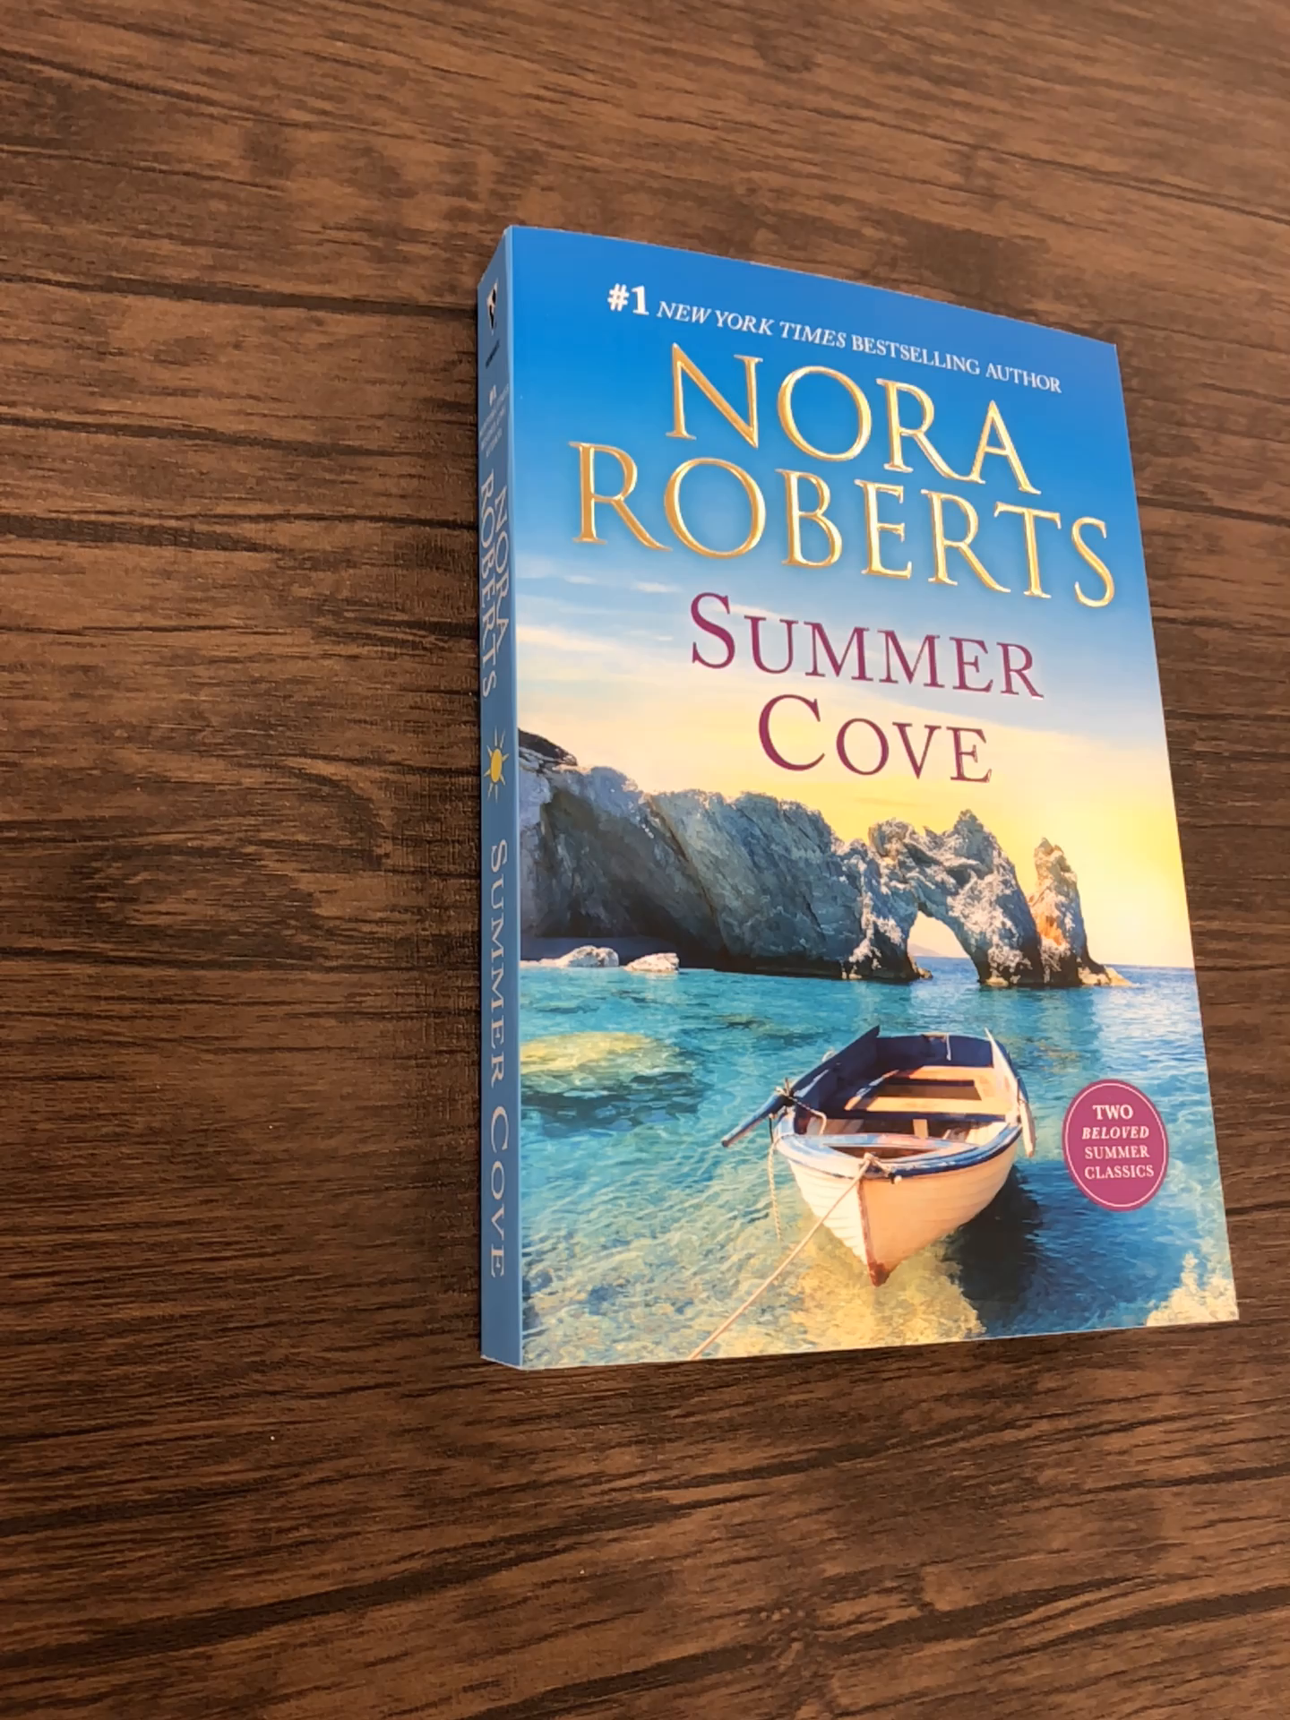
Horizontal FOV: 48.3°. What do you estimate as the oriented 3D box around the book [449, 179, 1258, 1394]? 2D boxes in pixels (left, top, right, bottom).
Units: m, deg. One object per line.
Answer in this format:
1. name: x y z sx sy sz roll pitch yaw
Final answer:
1. book: 0.037 -0.014 0.285 0.140 0.043 0.210 2 76 -22
